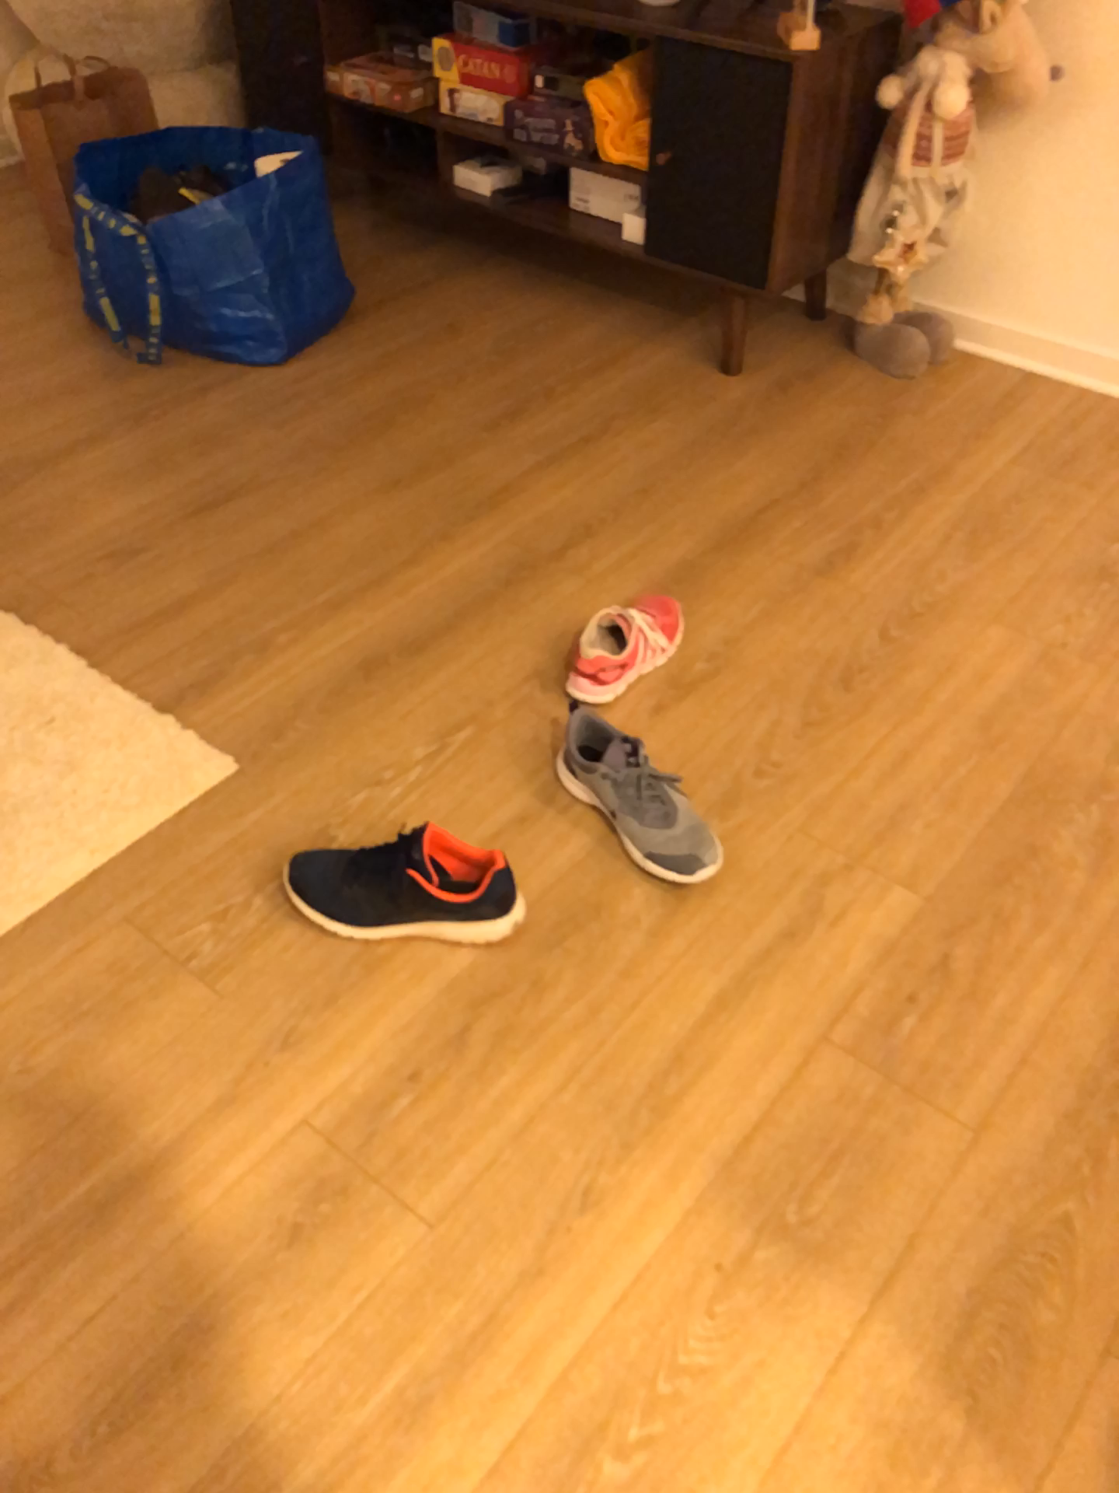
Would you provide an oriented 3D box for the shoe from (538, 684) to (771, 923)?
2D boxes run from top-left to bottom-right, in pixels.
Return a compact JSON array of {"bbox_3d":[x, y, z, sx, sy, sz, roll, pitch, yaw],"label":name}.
[{"bbox_3d":[0.114,0.066,1.596,0.130,0.109,0.307,-25,49,-26],"label":"shoe"}]

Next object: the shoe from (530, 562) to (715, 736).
[{"bbox_3d":[0.096,-0.152,1.857,0.140,0.090,0.281,27,48,26],"label":"shoe"}]

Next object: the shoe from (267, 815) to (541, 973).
[{"bbox_3d":[-0.179,0.175,1.489,0.300,0.099,0.131,4,42,4],"label":"shoe"}]
